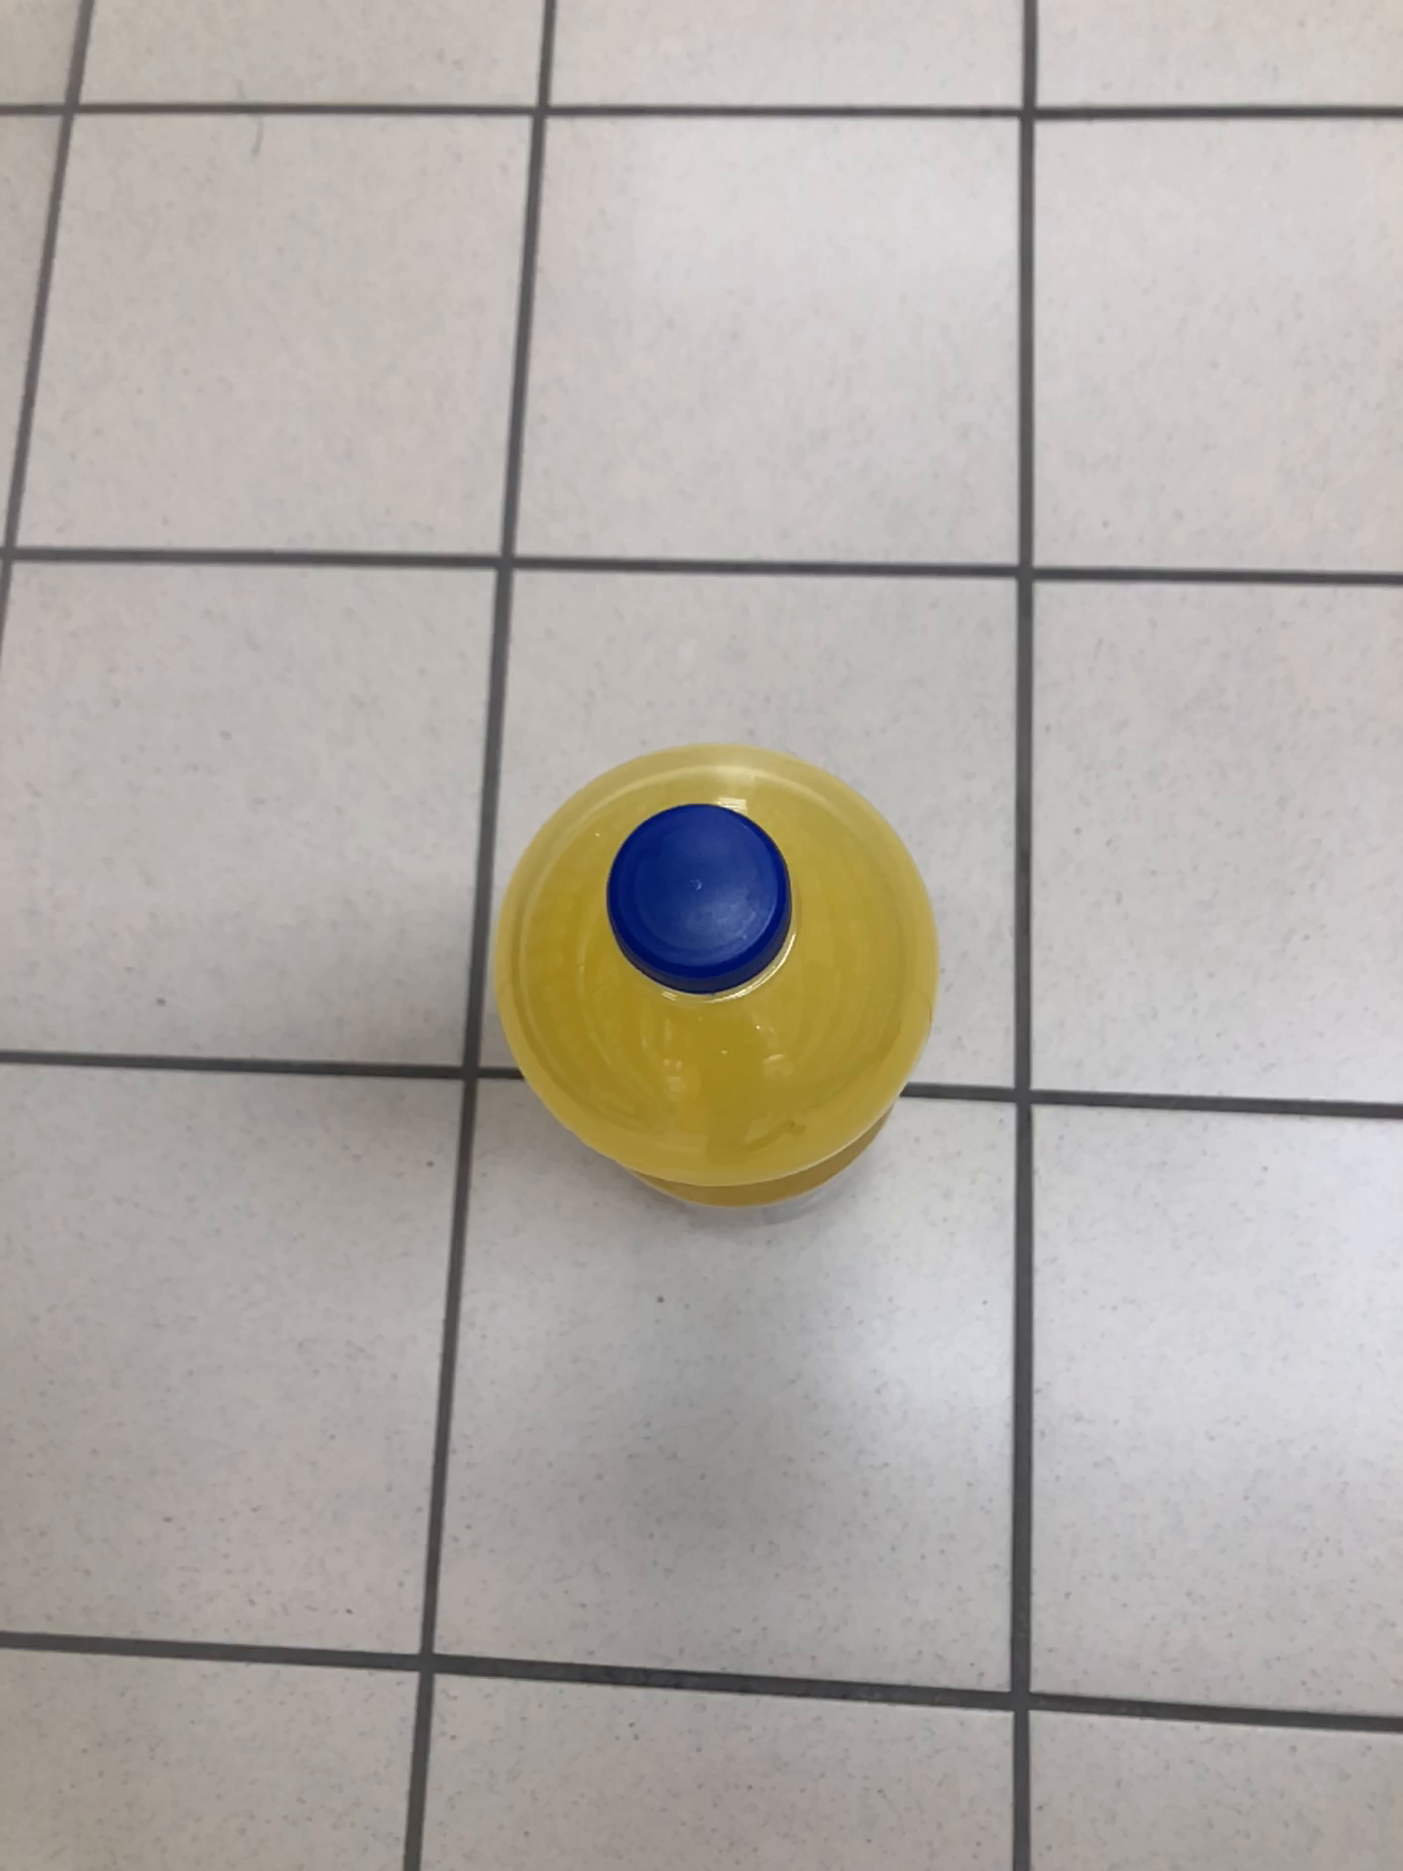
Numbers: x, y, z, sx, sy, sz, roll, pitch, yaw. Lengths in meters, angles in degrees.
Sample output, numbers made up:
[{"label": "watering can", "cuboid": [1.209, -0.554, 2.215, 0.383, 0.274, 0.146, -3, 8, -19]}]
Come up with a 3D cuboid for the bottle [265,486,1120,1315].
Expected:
[{"label": "bottle", "cuboid": [0.009, 0.023, 0.392, 0.100, 0.320, 0.100, -1, 78, 3]}]
